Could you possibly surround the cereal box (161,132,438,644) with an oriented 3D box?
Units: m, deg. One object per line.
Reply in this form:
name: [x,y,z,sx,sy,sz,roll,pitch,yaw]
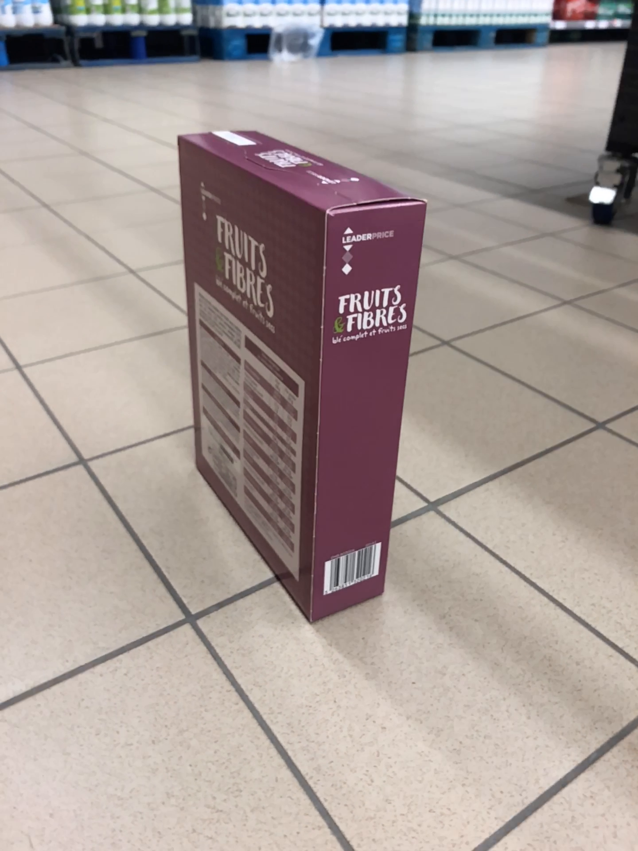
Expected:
cereal box: [-0.026,-0.034,0.455,0.060,0.258,0.211,-15,34,-26]
